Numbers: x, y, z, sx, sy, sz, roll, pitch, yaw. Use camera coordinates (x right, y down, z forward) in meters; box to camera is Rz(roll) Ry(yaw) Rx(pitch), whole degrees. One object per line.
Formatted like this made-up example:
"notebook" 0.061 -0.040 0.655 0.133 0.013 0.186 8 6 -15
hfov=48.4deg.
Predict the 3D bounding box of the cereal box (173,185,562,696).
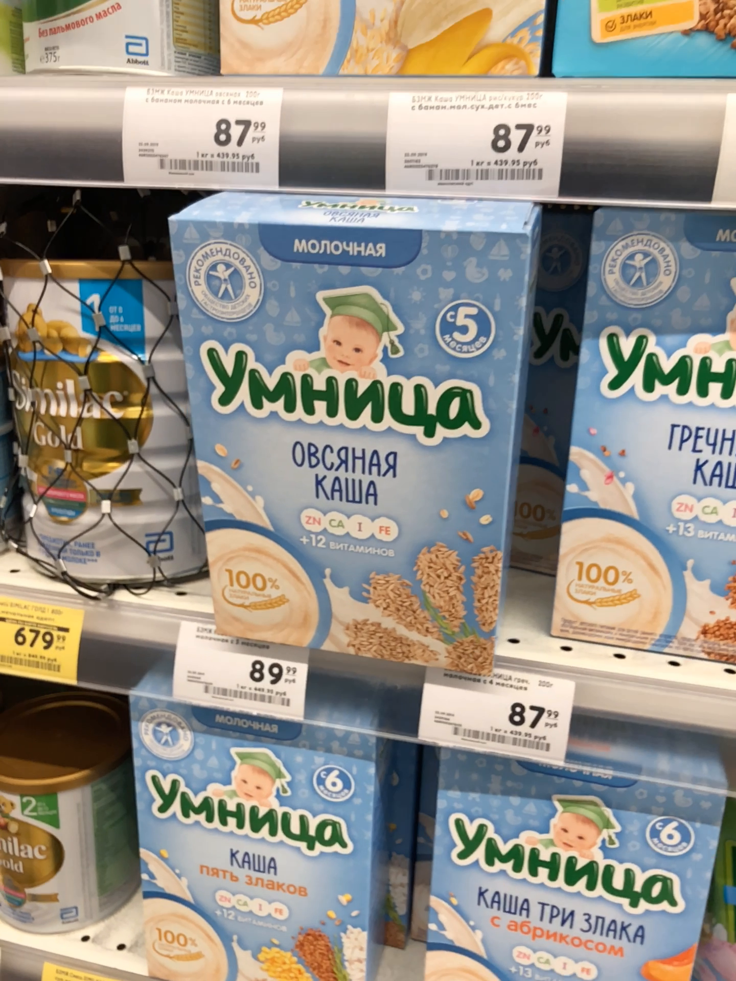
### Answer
"cereal box" 0.004 -0.020 0.366 0.140 0.209 0.060 6 29 13
